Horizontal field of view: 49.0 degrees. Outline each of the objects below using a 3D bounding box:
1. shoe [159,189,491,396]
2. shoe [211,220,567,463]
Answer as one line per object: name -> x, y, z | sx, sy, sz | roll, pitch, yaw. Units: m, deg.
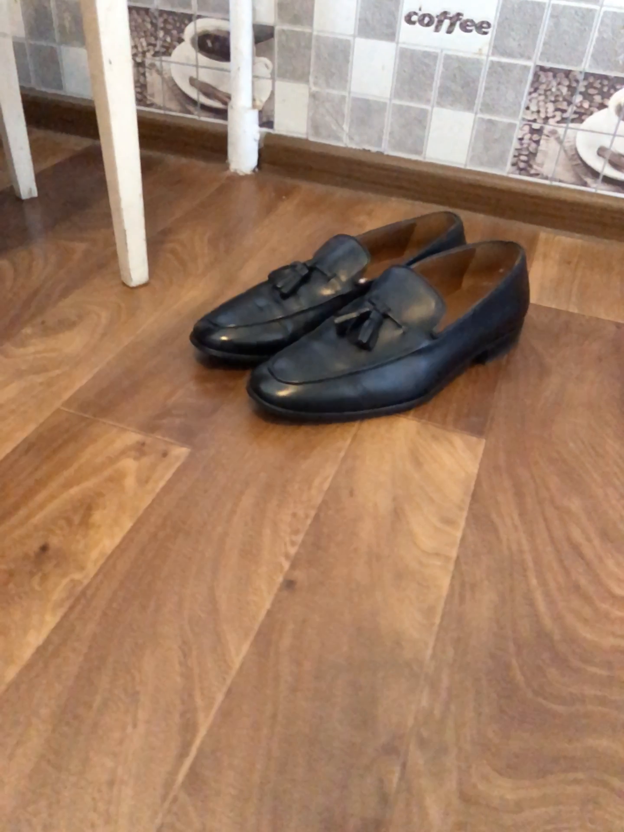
shoe -> 0.016, -0.112, 0.561 | 0.254, 0.068, 0.100 | -24, 46, -29
shoe -> 0.062, -0.068, 0.510 | 0.254, 0.068, 0.100 | -24, 47, -30
